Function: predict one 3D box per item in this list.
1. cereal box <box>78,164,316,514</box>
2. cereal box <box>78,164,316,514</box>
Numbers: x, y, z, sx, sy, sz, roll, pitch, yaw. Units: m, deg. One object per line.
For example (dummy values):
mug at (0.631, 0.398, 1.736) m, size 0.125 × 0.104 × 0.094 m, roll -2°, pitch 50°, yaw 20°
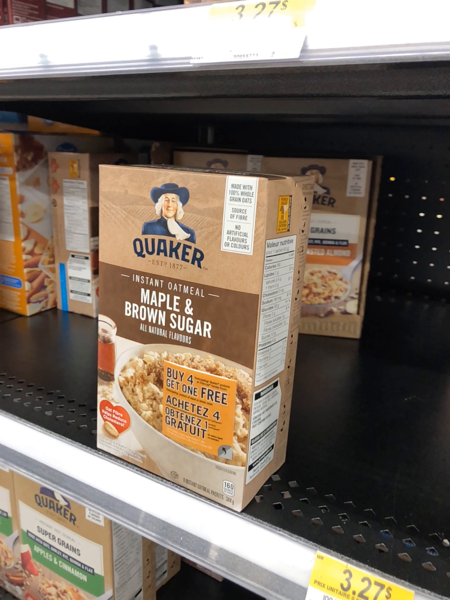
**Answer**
cereal box at (-0.023, 0.014, 0.321) m, size 0.130 × 0.189 × 0.060 m, roll 12°, pitch 18°, yaw 30°
cereal box at (-0.023, 0.014, 0.321) m, size 0.130 × 0.189 × 0.060 m, roll 12°, pitch 18°, yaw 30°
